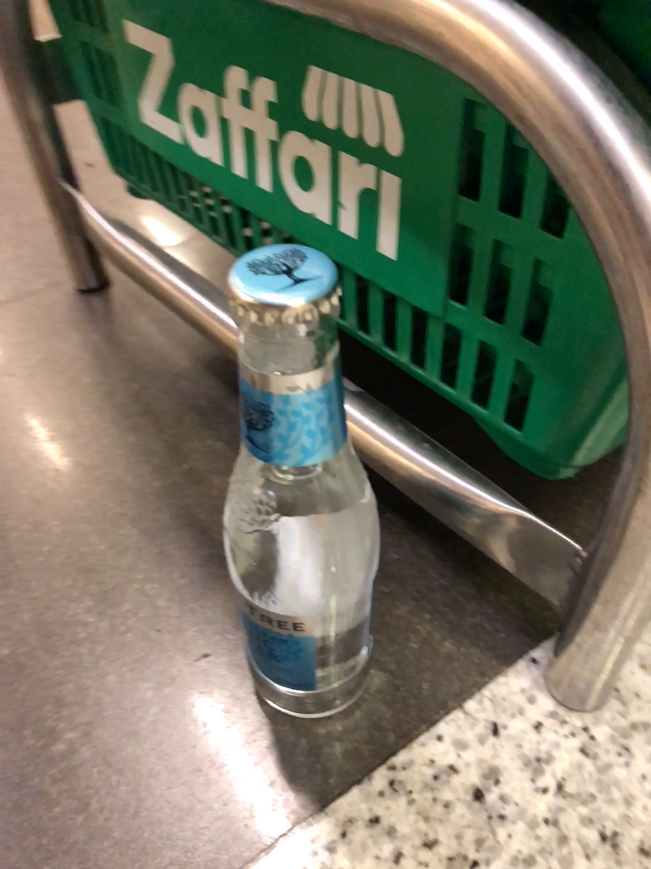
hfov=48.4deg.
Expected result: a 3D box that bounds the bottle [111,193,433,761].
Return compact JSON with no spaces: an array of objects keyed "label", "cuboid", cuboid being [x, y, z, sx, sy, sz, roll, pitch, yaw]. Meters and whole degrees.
[{"label":"bottle","cuboid":[-0.010,0.029,0.237,0.050,0.189,0.060,-31,51,-26]}]
